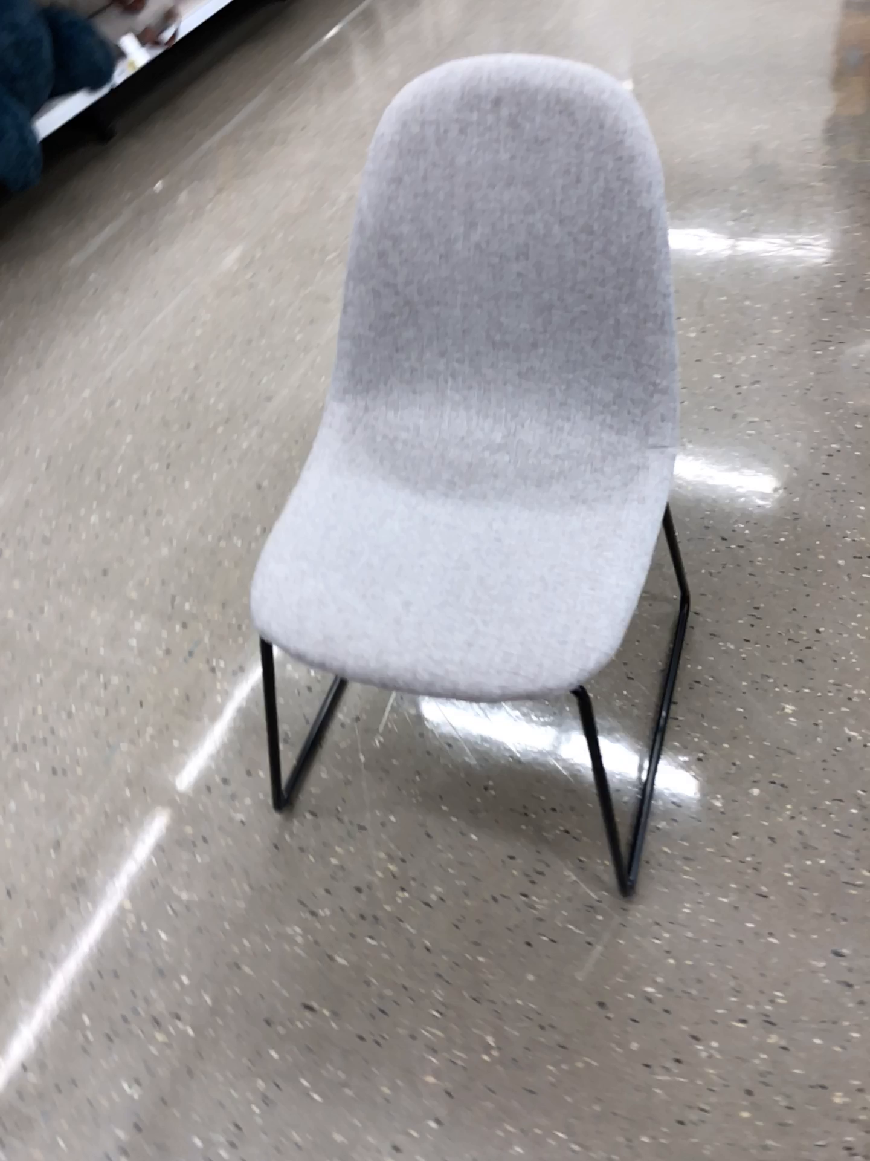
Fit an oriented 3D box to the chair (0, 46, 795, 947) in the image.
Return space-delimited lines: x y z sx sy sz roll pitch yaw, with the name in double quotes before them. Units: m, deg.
"chair" 0.024 -0.082 1.101 0.591 0.777 0.581 9 50 16
